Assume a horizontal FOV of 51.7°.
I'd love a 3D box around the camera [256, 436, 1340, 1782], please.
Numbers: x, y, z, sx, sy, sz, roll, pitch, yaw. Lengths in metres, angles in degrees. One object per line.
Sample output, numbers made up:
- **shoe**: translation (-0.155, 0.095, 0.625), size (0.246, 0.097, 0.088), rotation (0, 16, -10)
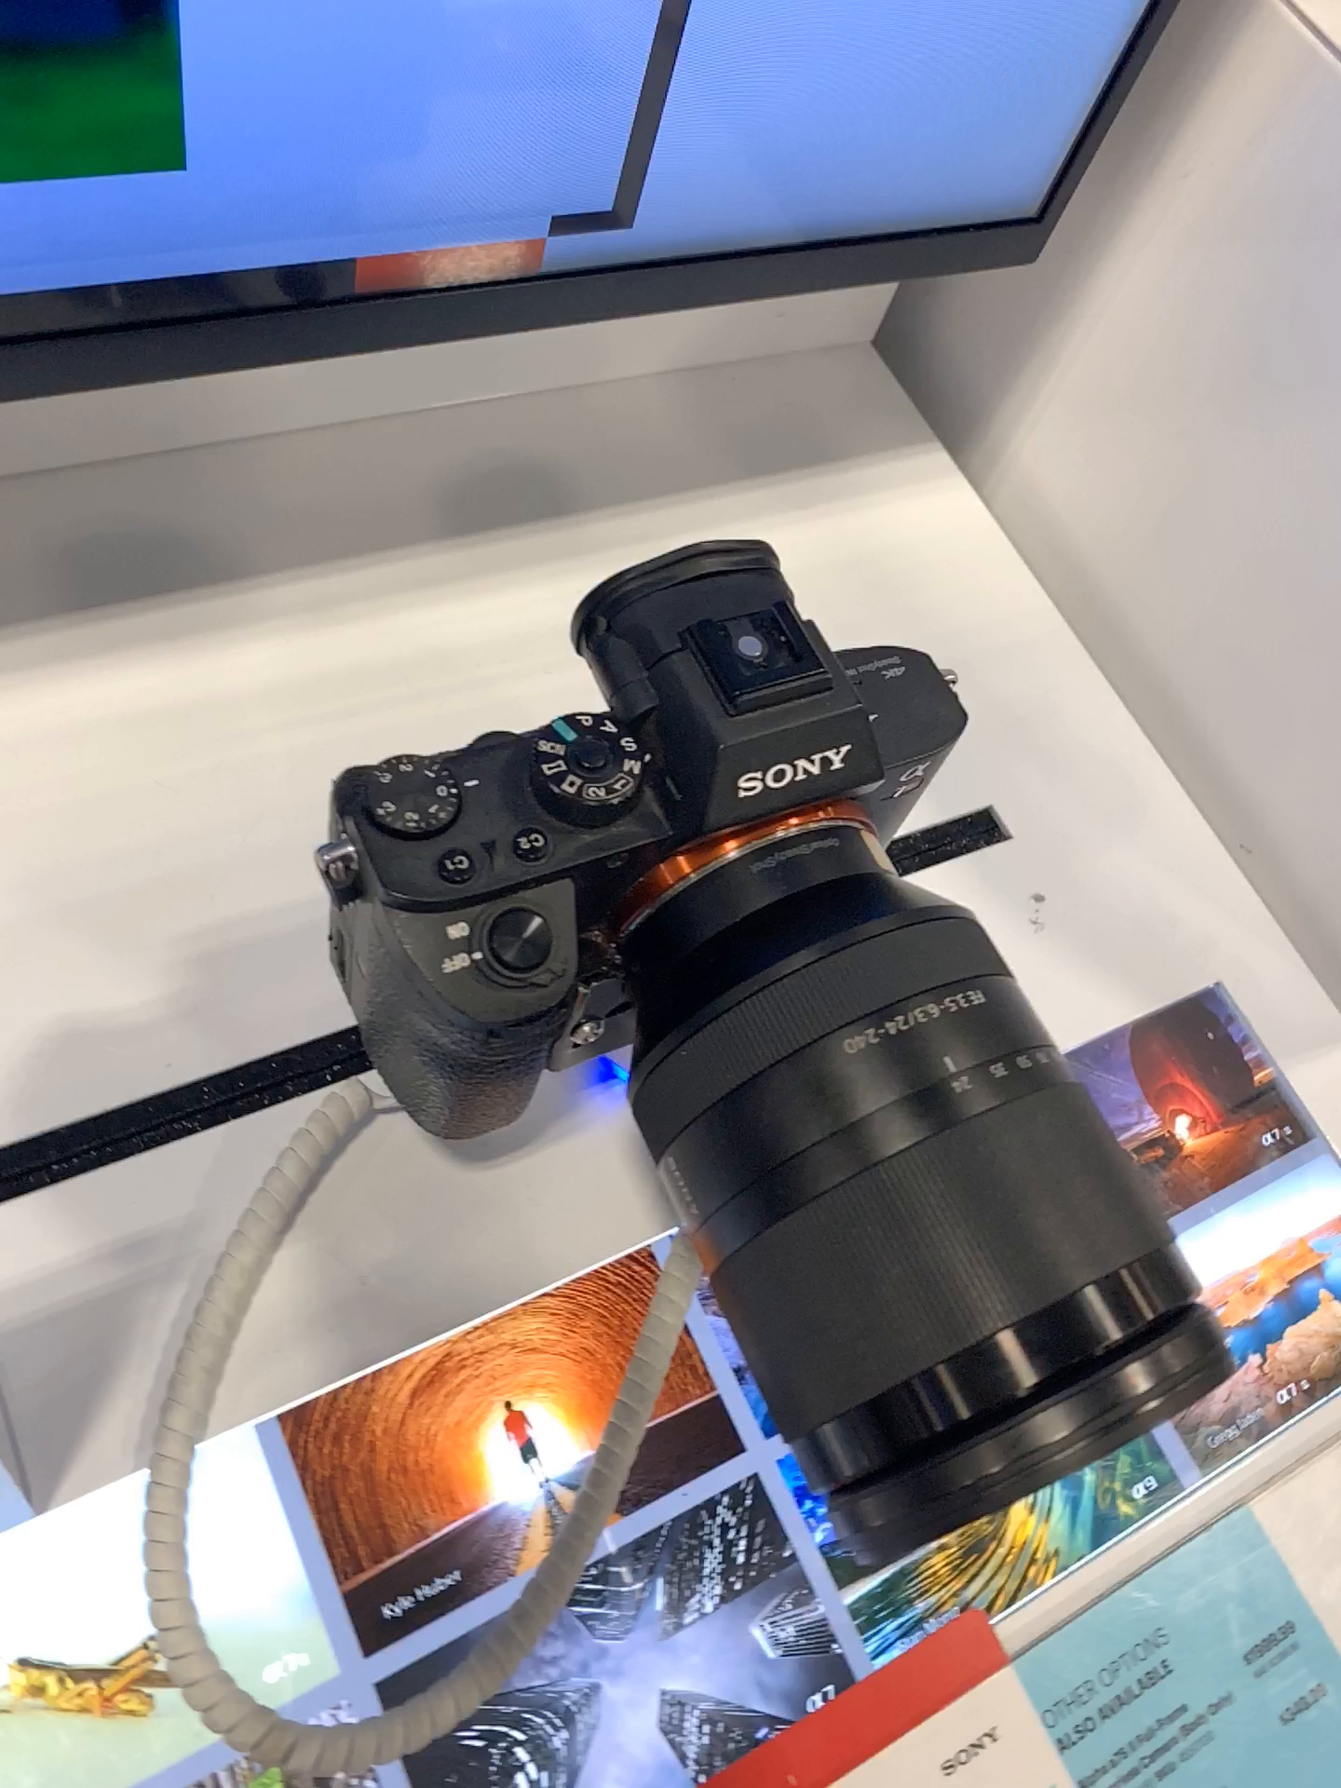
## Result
- **camera**: translation (0.023, 0.028, 0.257), size (0.128, 0.091, 0.184), rotation (-23, 70, -25)
